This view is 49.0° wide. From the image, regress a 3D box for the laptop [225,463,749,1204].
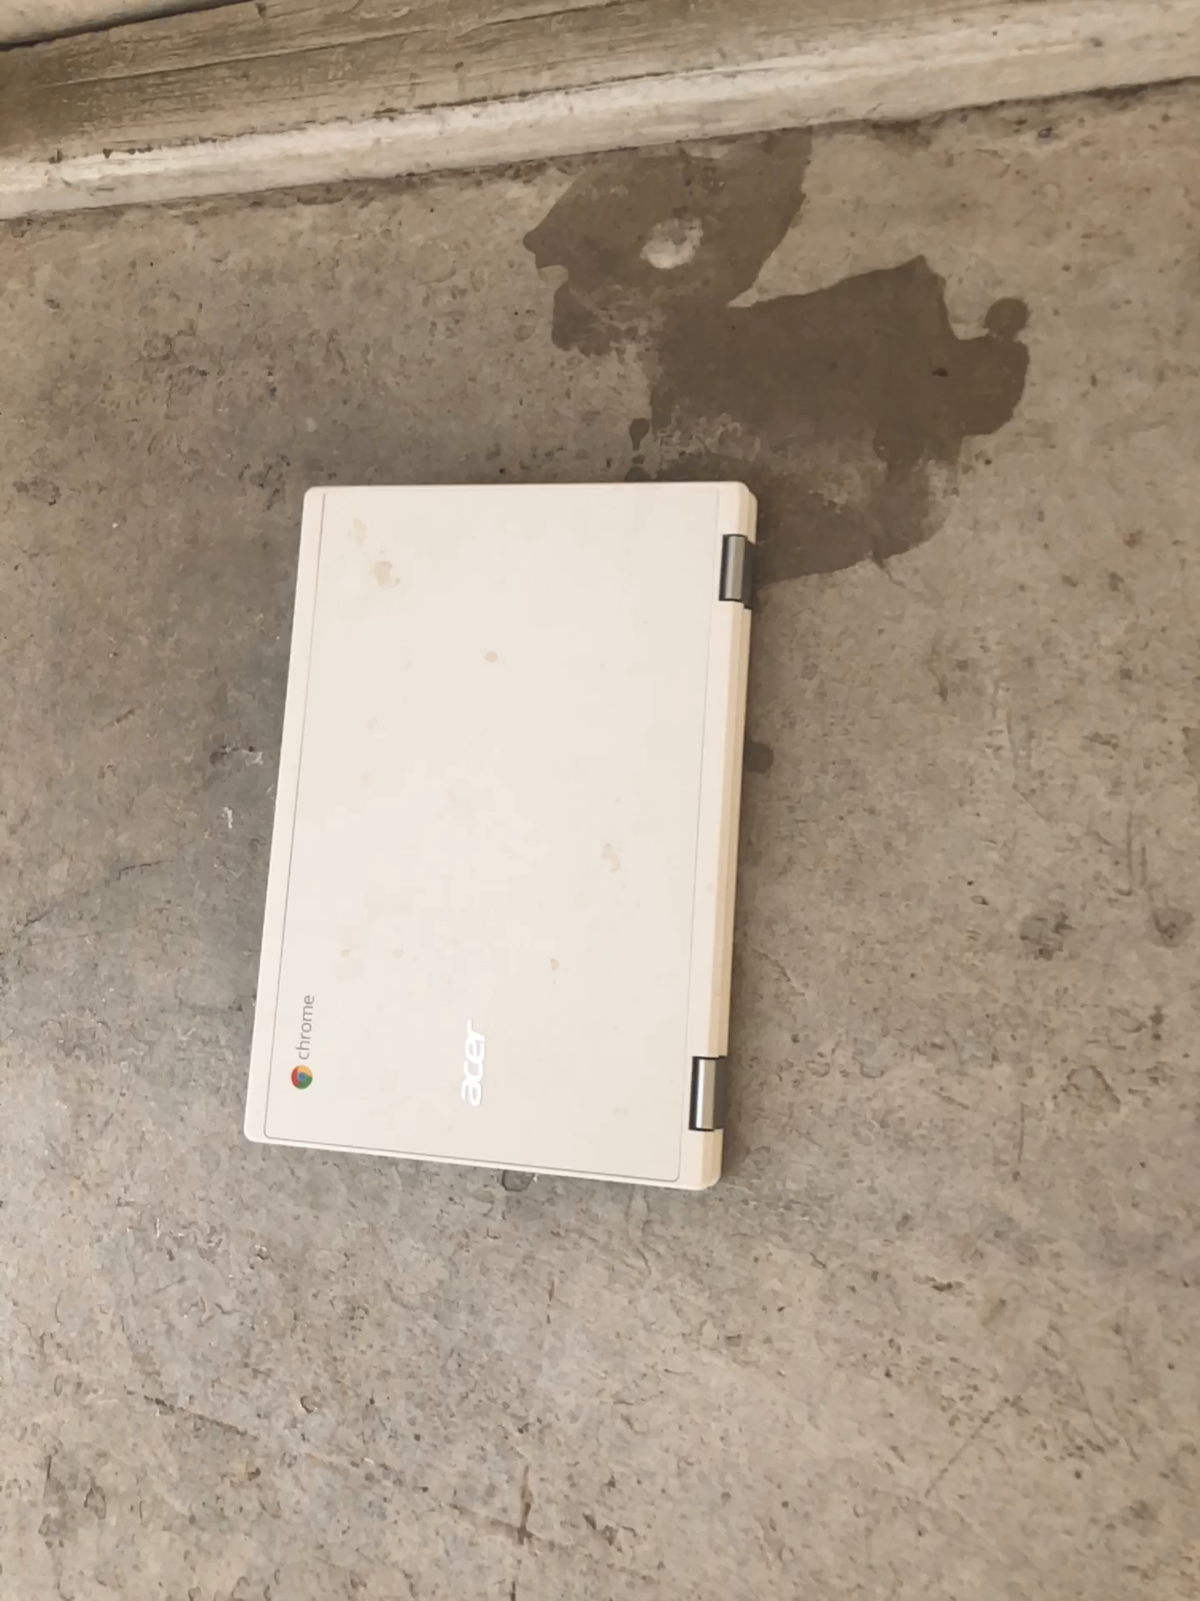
[{"bbox_3d":[-0.046,0.008,0.547,0.190,0.046,0.278,2,83,21],"label":"laptop"}]
